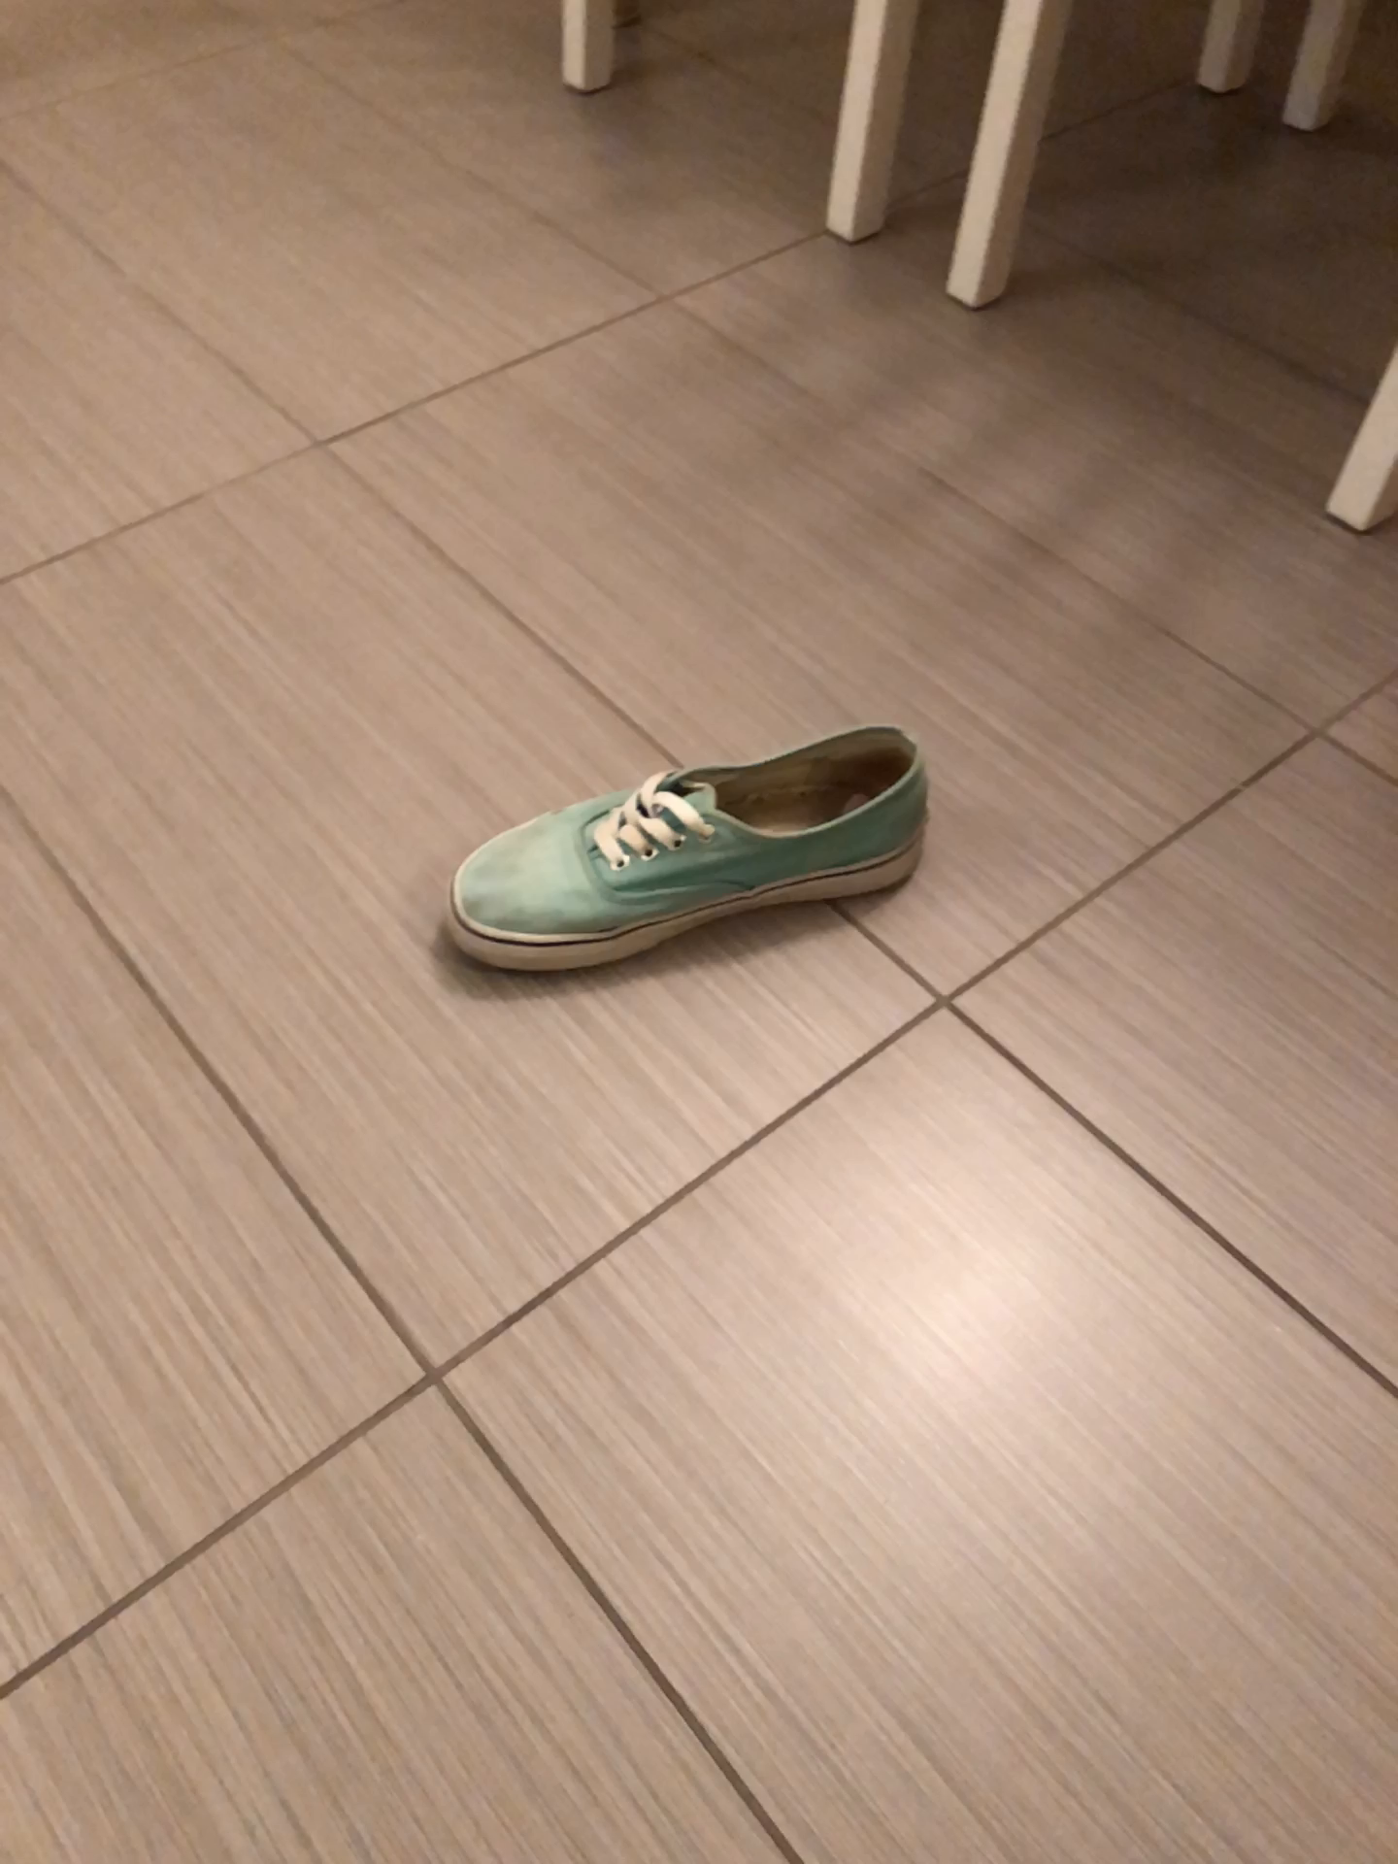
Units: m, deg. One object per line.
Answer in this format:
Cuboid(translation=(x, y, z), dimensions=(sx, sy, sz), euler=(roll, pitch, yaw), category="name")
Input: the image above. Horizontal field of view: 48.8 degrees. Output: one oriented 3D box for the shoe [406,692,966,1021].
Cuboid(translation=(-0.007, -0.040, 0.786), dimensions=(0.260, 0.080, 0.090), euler=(-12, 51, -9), category="shoe")
